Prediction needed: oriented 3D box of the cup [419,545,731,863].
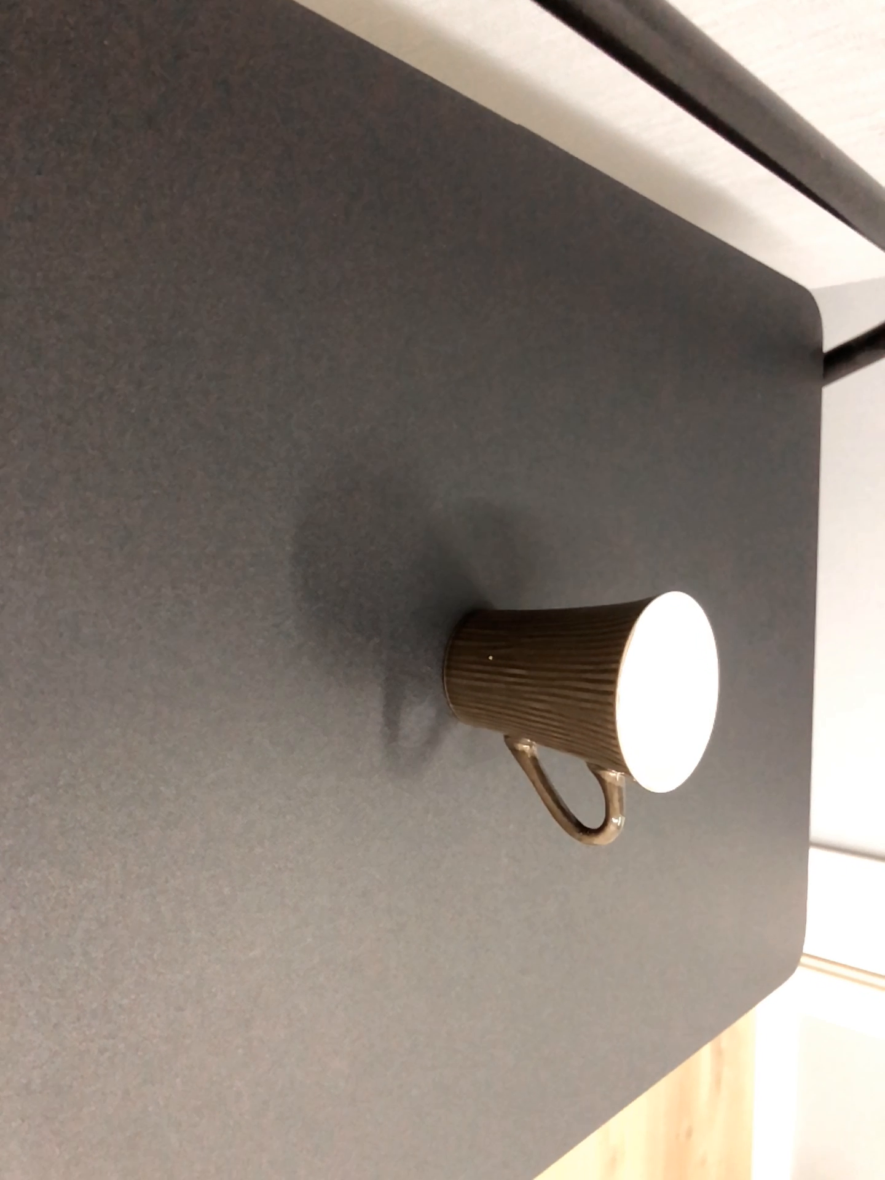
[{"bbox_3d":[0.044,0.035,0.323,0.066,0.069,0.089,11,84,-48],"label":"cup"}]
